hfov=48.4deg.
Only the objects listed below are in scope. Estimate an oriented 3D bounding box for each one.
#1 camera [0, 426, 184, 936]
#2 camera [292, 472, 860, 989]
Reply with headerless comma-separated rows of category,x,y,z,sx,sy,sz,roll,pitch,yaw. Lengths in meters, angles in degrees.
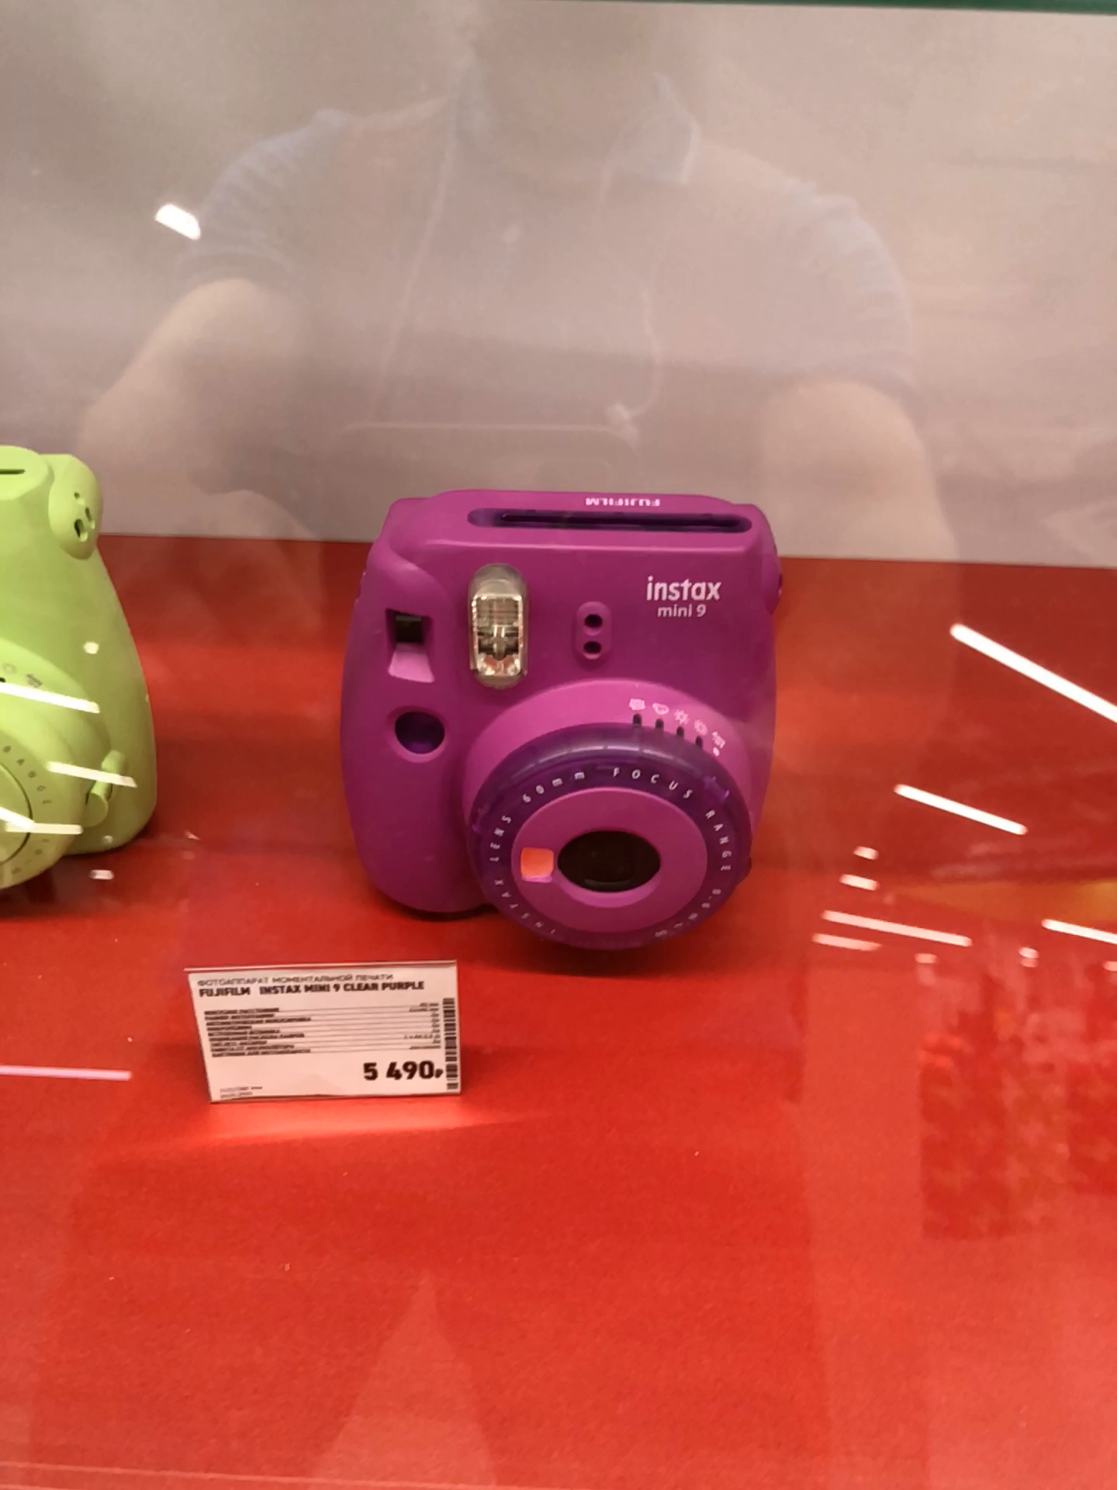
camera,-0.188,-0.017,0.342,0.135,0.118,0.073,-1,37,-3
camera,0.004,-0.003,0.316,0.117,0.103,0.073,2,37,1
